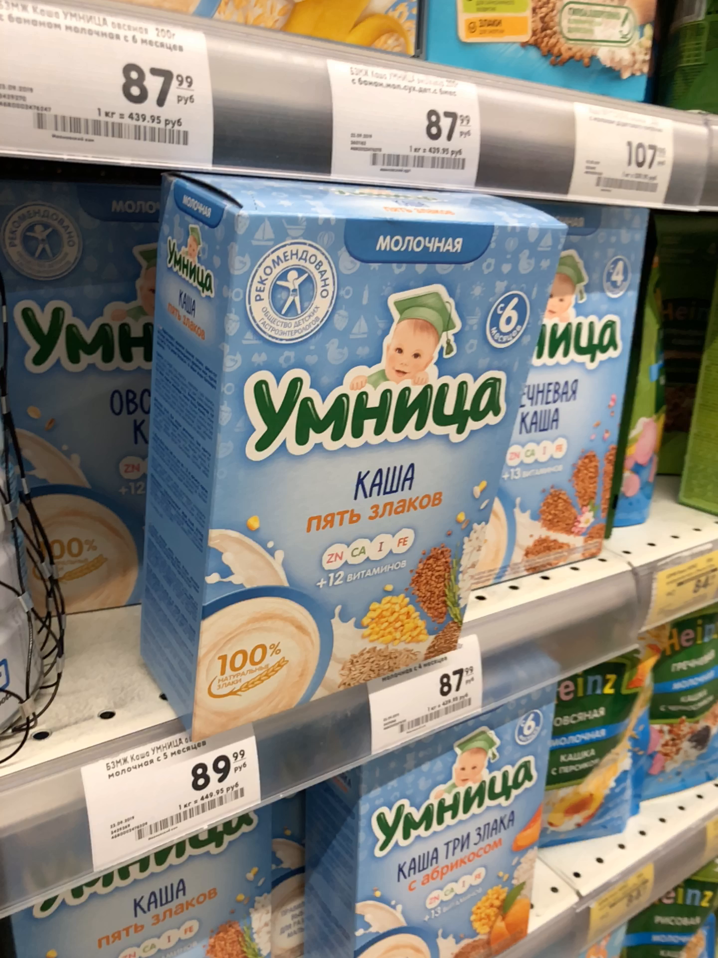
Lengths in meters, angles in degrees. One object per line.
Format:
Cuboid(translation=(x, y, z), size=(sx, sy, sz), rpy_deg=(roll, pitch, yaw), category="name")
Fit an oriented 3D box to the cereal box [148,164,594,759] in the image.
Cuboid(translation=(-0.003, -0.007, 0.324), size=(0.140, 0.209, 0.060), rpy_deg=(-10, 33, -34), category="cereal box")
